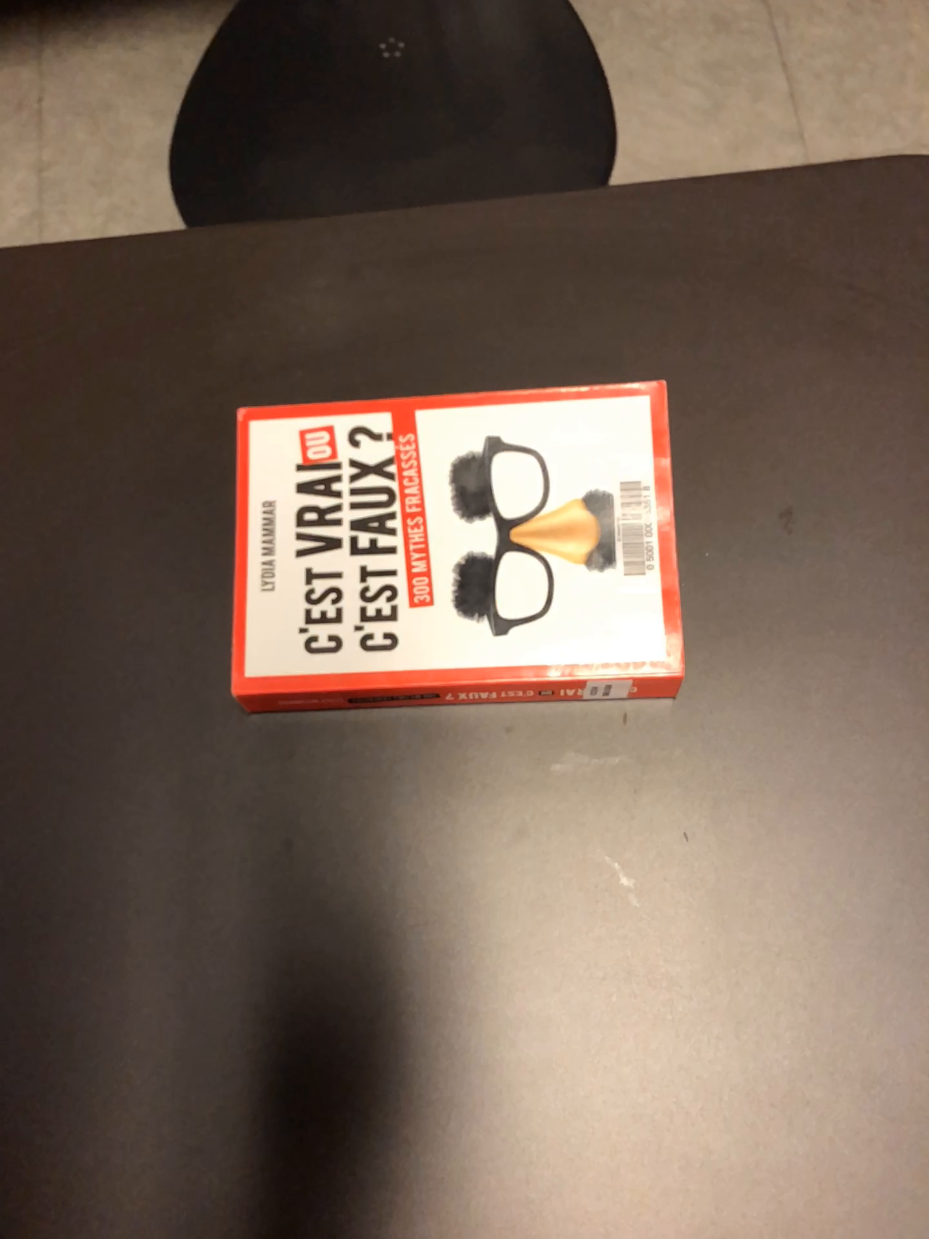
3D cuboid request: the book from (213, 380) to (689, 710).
[{"bbox_3d":[-0.006,-0.030,0.428,0.184,0.034,0.126,-2,77,2],"label":"book"}]
